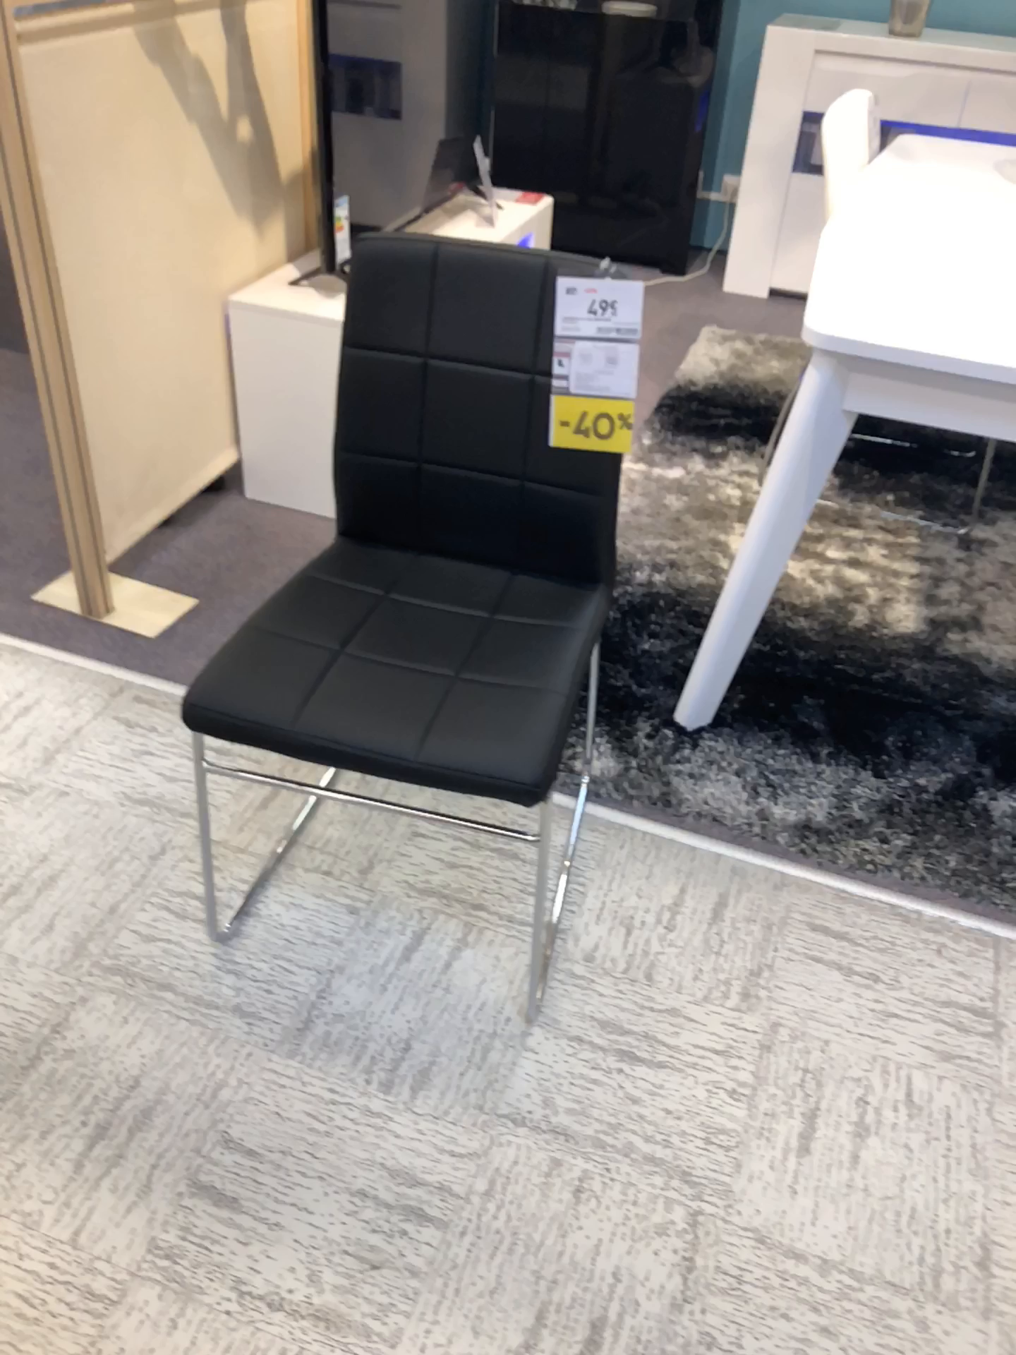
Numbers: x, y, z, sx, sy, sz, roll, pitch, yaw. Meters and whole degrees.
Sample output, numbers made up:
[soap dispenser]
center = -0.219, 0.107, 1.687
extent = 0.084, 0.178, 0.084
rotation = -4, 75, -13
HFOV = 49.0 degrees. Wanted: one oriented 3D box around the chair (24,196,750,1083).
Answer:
[chair]
center = -0.086, -0.076, 1.394
extent = 0.550, 0.795, 0.634
rotation = 13, 37, 12
